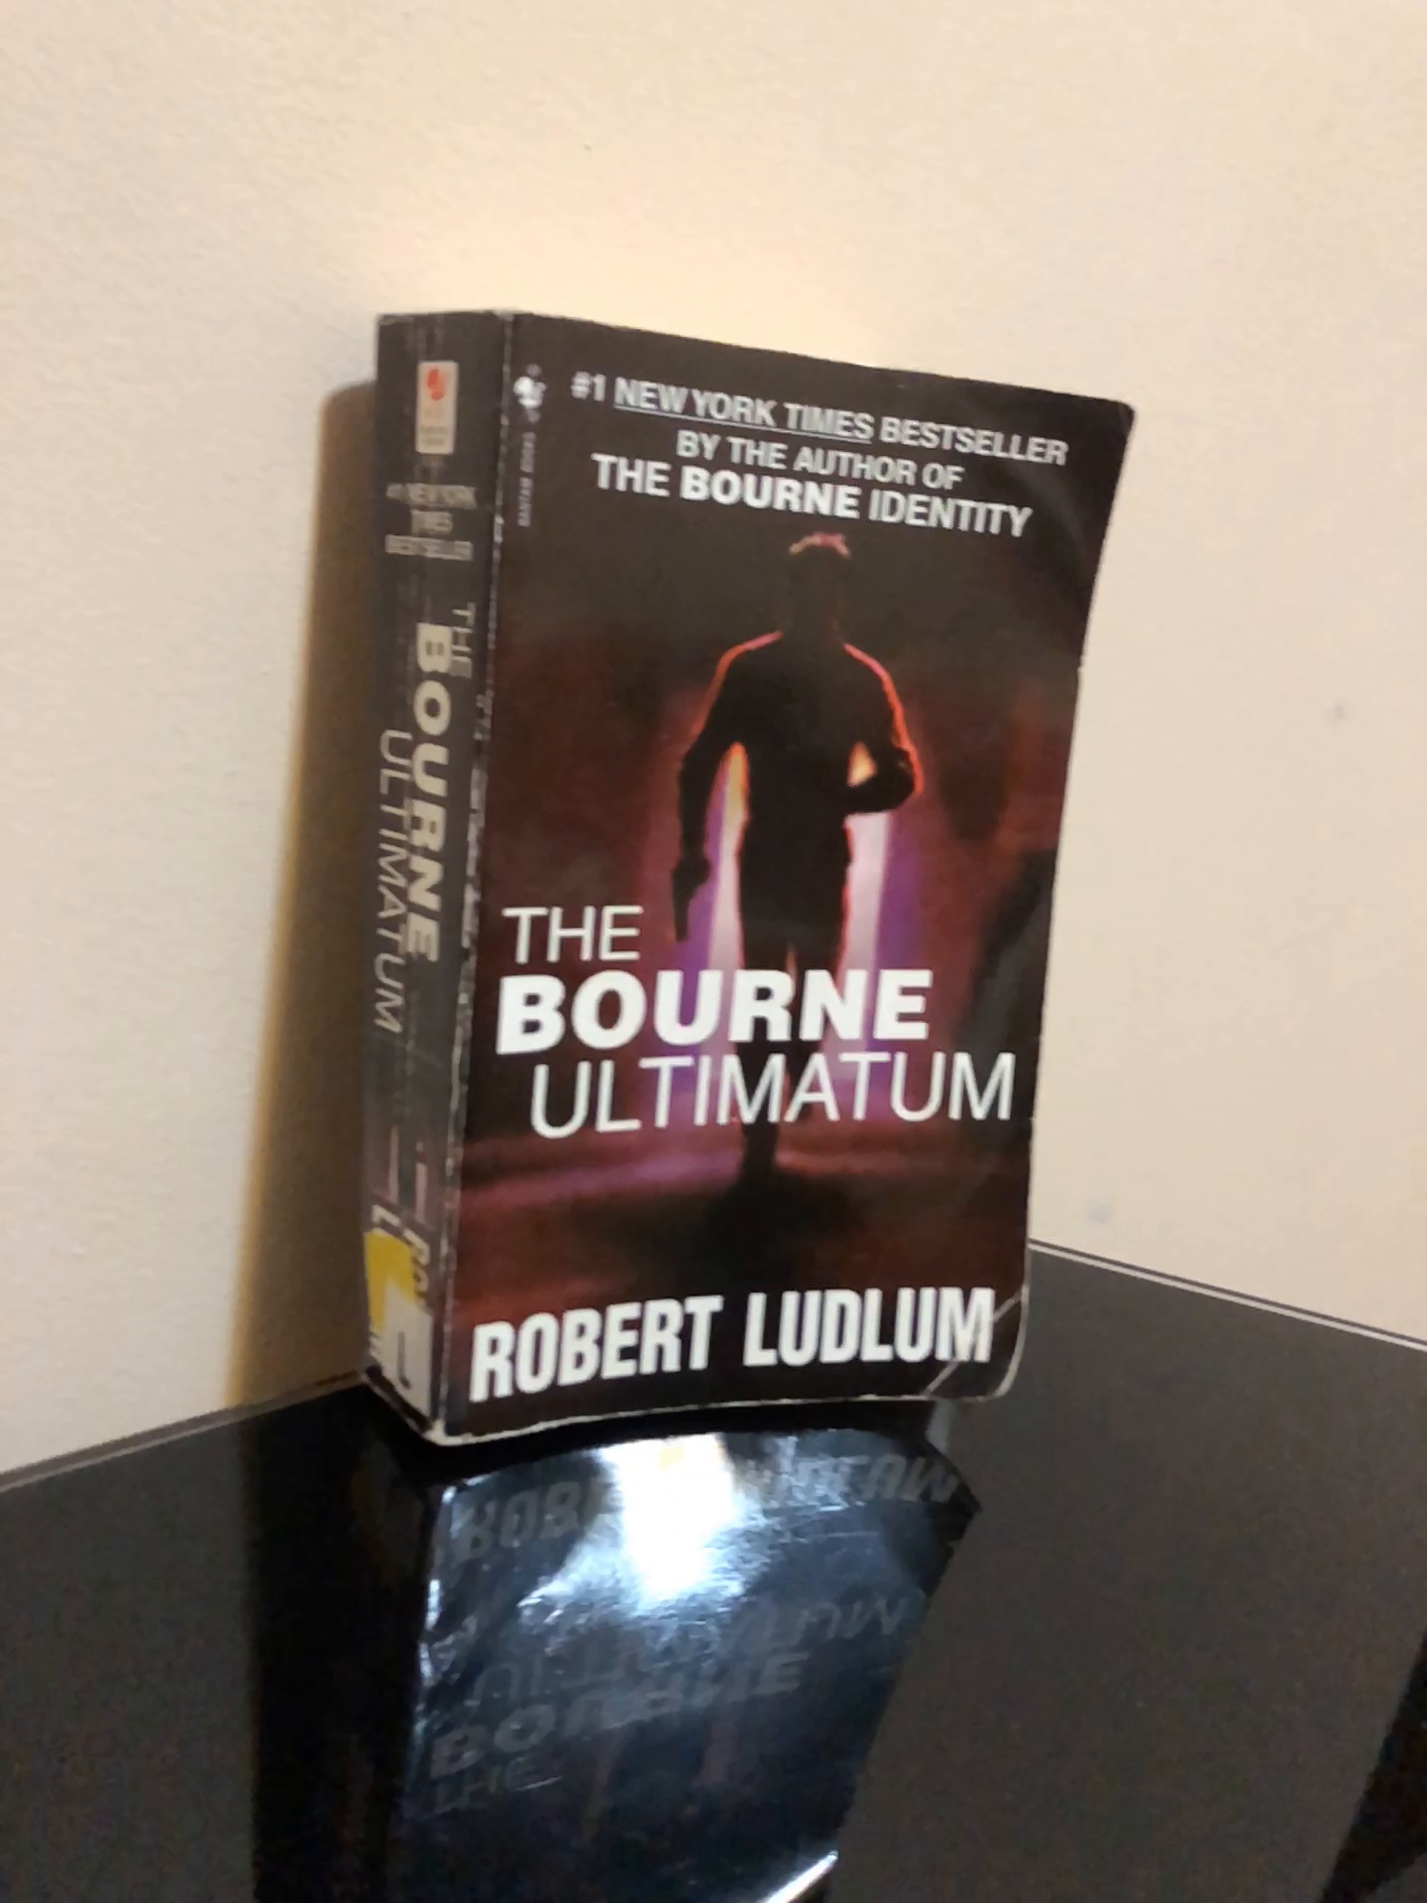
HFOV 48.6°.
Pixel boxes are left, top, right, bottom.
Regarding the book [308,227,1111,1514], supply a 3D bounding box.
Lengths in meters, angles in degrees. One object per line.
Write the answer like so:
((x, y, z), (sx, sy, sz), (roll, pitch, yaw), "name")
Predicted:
((-0.004, -0.015, 0.290), (0.120, 0.190, 0.070), (-4, 11, -28), "book")
